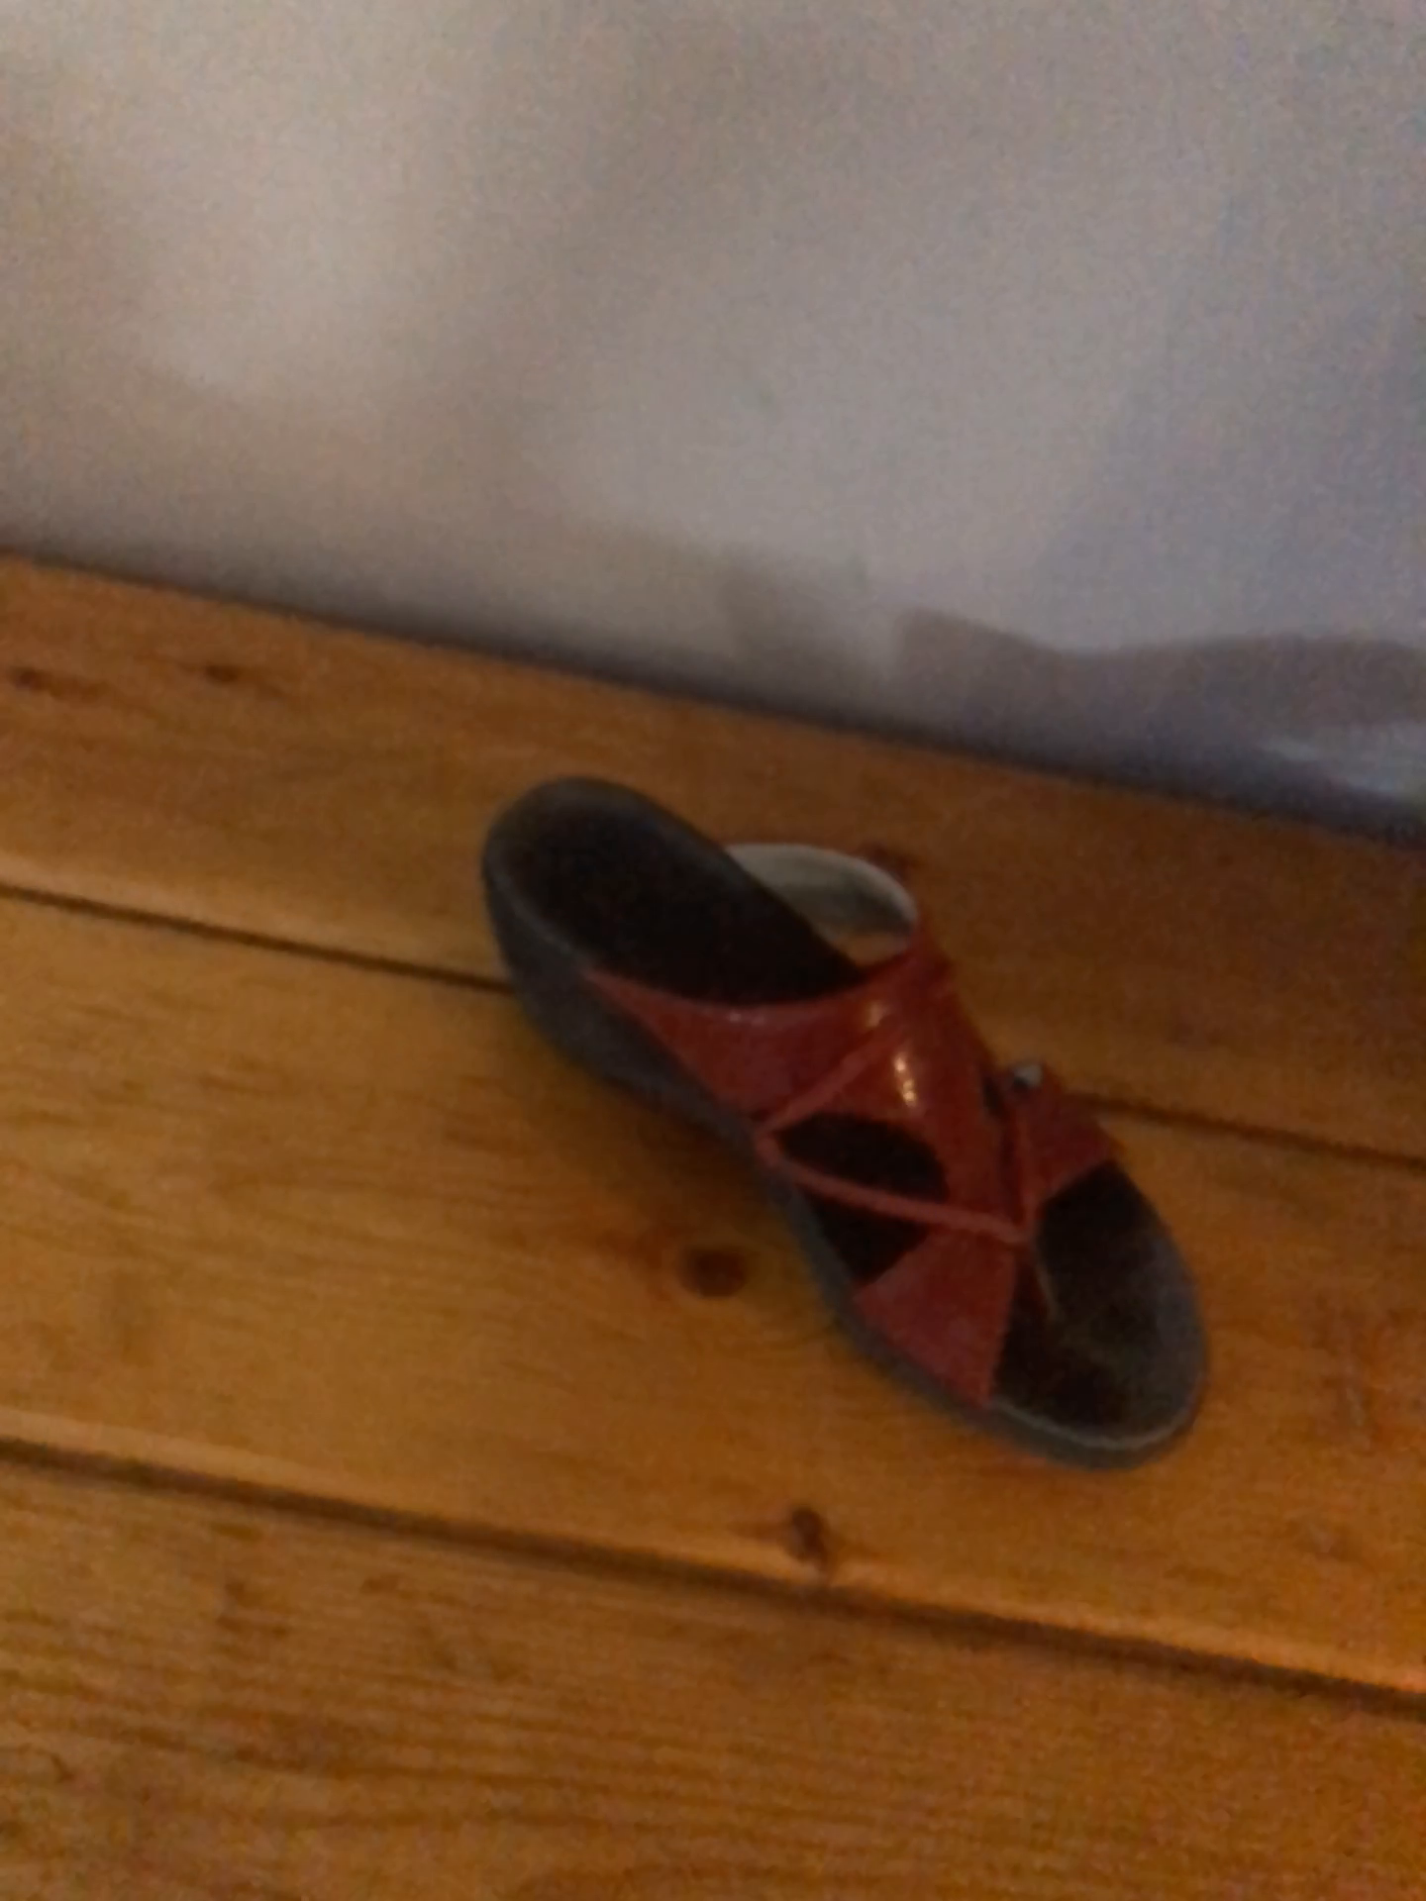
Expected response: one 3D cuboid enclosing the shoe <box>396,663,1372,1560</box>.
[{"bbox_3d":[0.036,0.034,0.446,0.250,0.070,0.100,38,55,17],"label":"shoe"}]
